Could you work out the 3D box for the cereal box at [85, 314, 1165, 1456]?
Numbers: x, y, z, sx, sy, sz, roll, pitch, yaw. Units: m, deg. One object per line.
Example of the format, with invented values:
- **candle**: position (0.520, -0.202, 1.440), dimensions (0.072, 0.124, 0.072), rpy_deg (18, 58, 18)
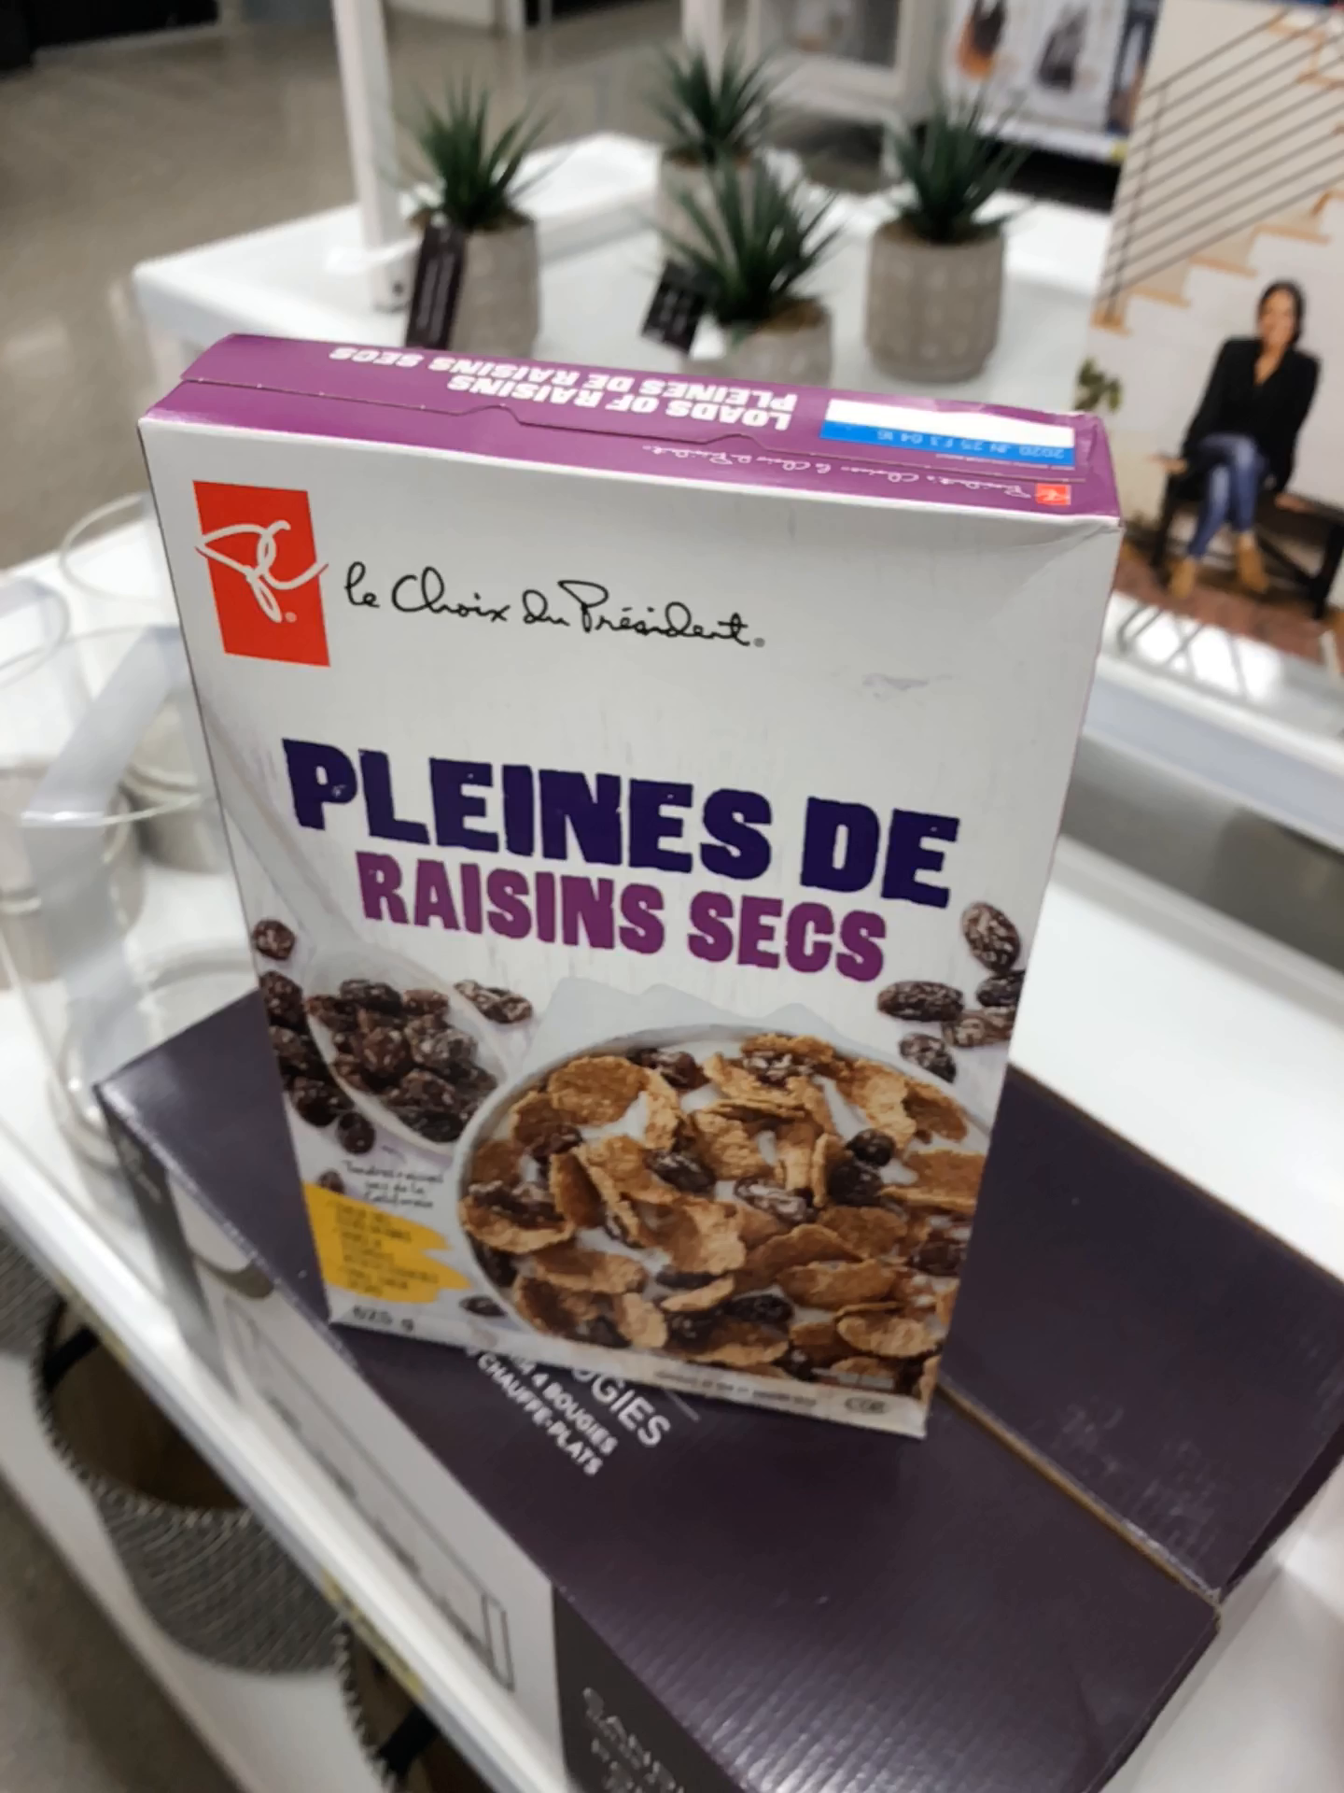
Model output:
- **cereal box**: position (-0.010, 0.019, 0.390), dimensions (0.200, 0.299, 0.060), rpy_deg (9, 41, 9)
